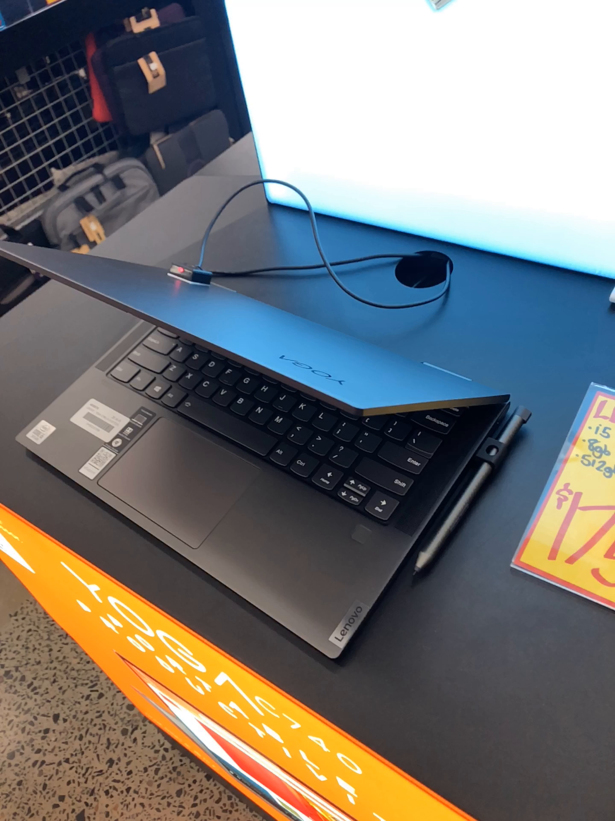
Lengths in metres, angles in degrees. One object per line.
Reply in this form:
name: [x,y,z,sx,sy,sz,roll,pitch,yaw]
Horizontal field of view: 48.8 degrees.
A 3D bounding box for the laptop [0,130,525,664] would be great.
laptop: [-0.058,-0.040,0.449,0.320,0.144,0.209,25,59,32]
